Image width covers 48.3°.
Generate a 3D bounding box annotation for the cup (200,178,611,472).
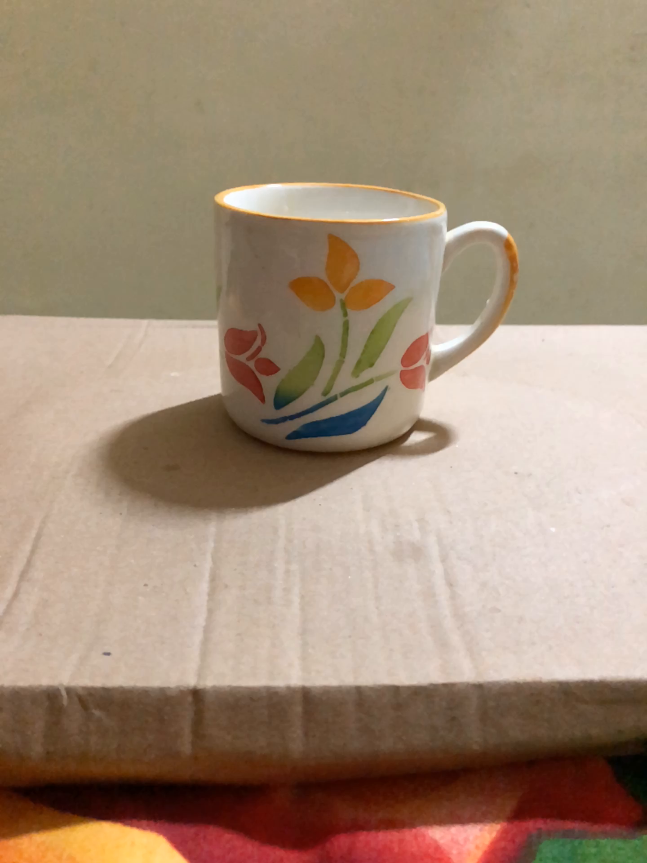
[{"bbox_3d":[0.020,-0.046,0.263,0.120,0.080,0.090,-4,24,-9],"label":"cup"}]
